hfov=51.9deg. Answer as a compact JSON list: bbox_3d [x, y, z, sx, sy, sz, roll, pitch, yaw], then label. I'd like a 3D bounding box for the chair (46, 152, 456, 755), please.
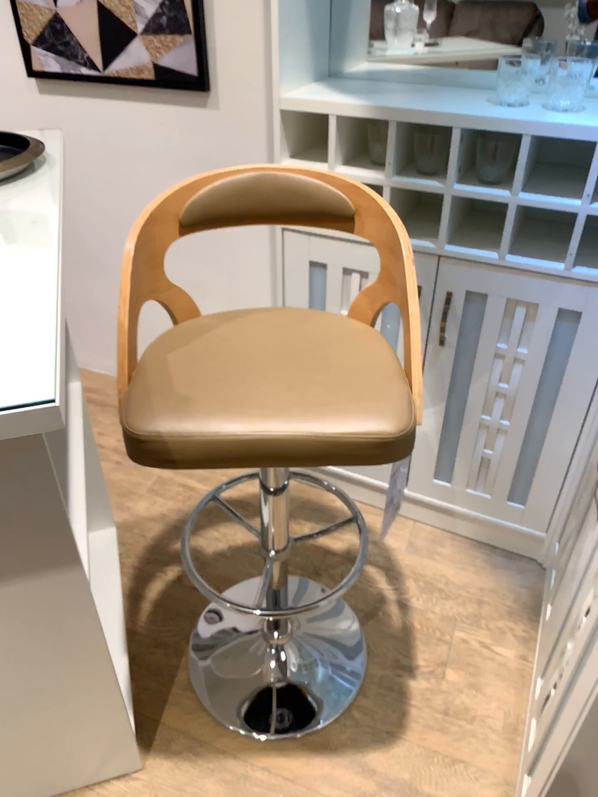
[{"bbox_3d":[-0.050,0.154,1.134,0.430,1.045,0.462,1,35,1],"label":"chair"}]
